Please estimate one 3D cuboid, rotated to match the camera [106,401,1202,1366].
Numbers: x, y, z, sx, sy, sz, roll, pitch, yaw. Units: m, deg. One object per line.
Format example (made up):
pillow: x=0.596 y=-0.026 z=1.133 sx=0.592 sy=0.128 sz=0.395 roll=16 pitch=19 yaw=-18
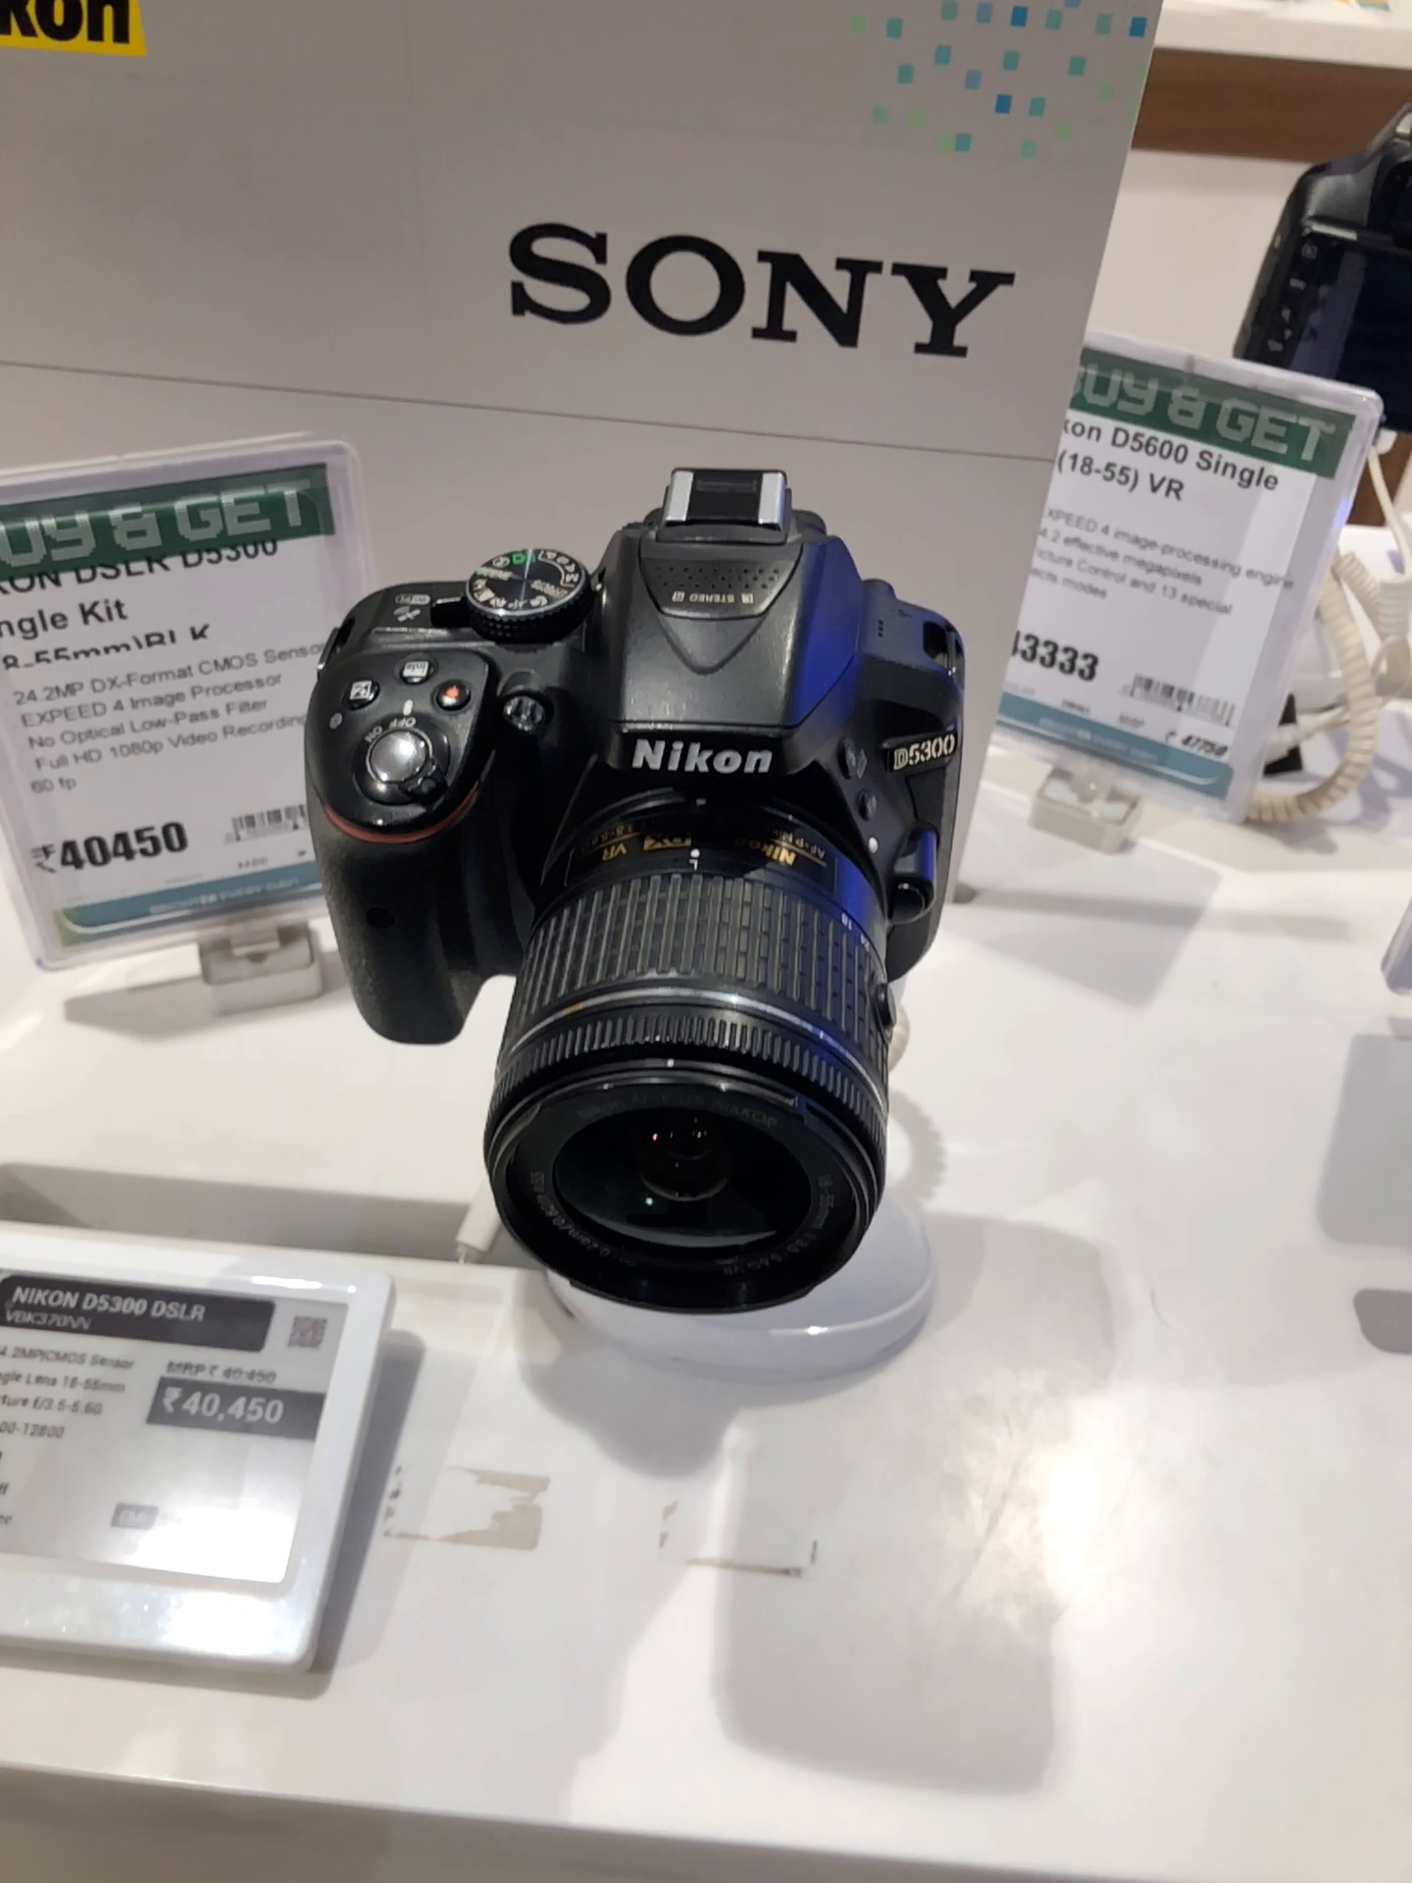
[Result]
camera: x=-0.007 y=-0.016 z=0.286 sx=0.140 sy=0.099 sz=0.141 roll=4 pitch=42 yaw=-1
